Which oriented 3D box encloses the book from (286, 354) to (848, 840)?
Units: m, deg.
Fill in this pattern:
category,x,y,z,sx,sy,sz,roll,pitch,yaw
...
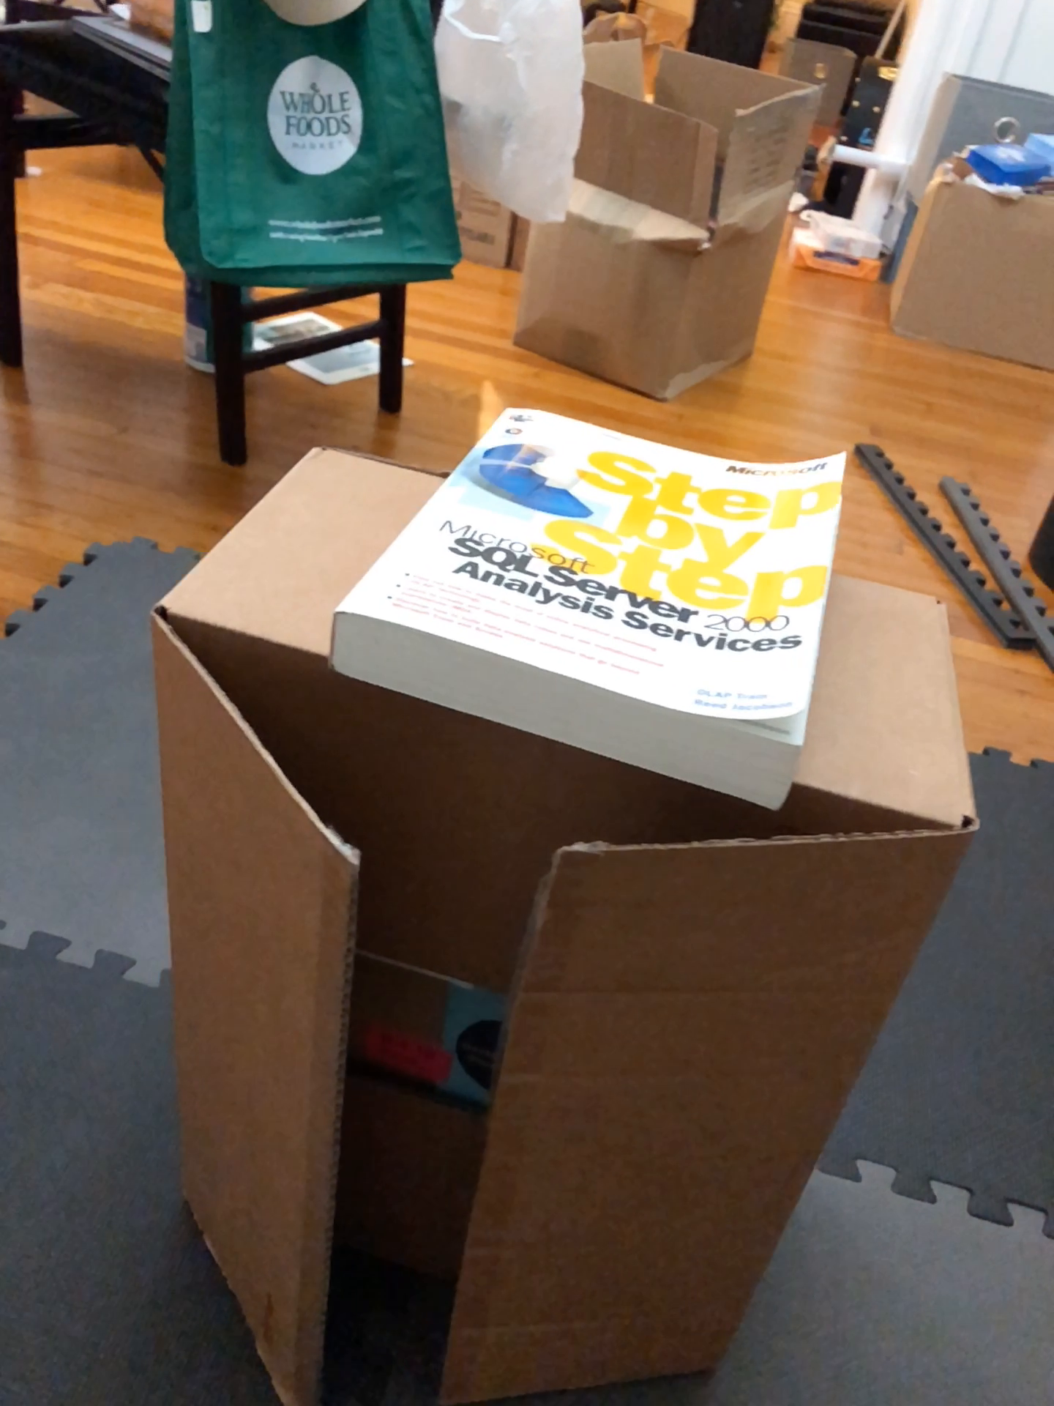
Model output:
category,x,y,z,sx,sy,sz,roll,pitch,yaw
book,0.035,-0.066,0.525,0.200,0.050,0.242,18,38,4
